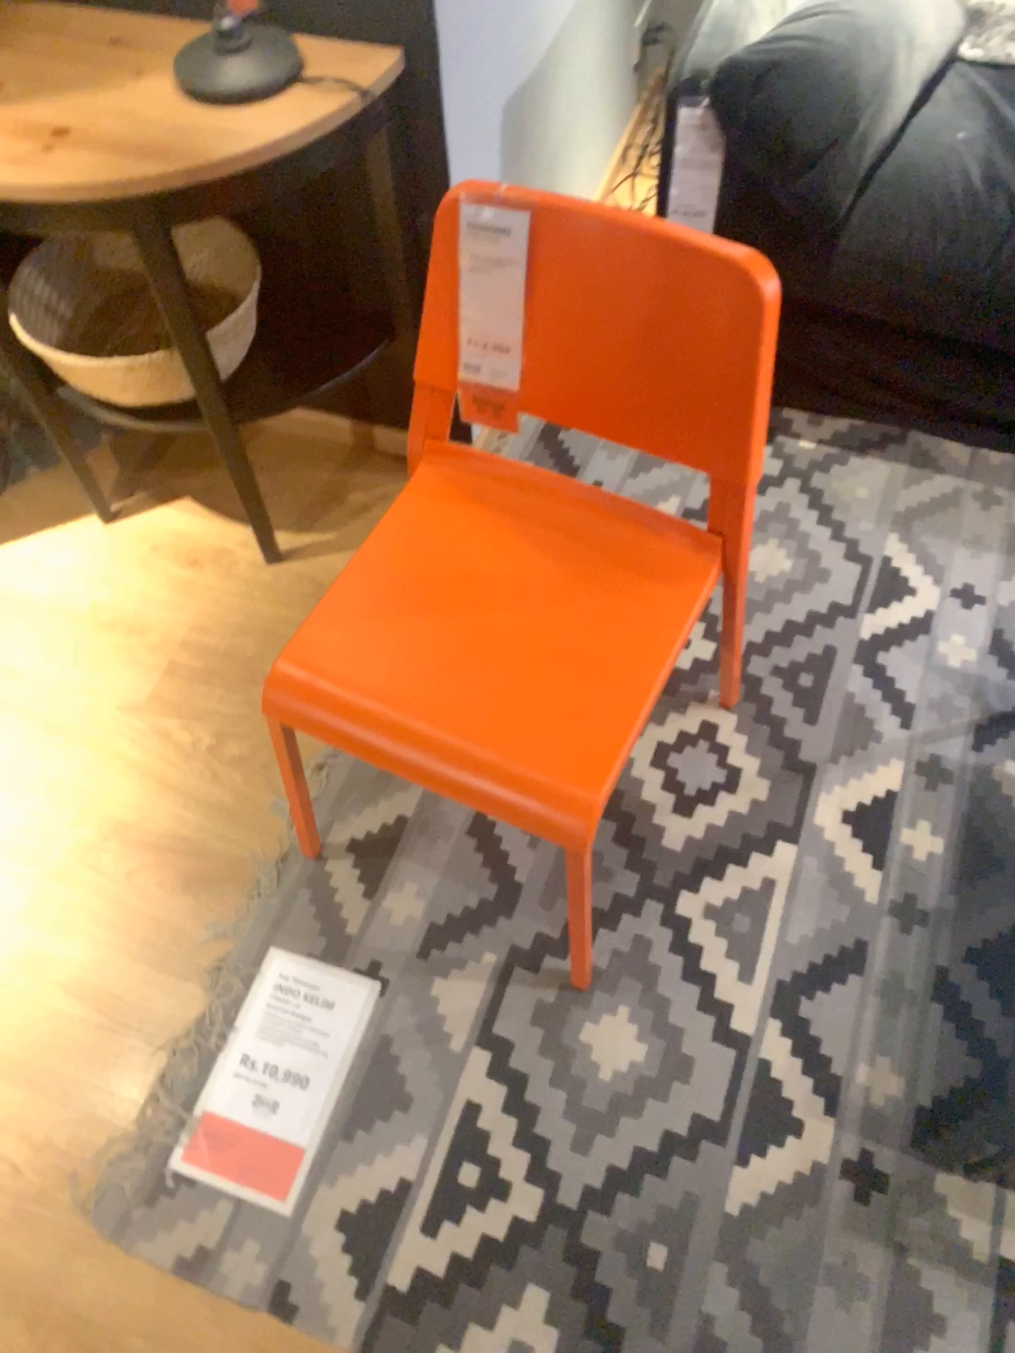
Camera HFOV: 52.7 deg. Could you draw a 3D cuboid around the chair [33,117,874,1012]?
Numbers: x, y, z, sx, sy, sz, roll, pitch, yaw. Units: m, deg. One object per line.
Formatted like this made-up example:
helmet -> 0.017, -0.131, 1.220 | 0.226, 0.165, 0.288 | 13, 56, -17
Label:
chair -> -0.007, -0.077, 1.161 | 0.511, 0.738, 0.541 | 21, 61, 15
